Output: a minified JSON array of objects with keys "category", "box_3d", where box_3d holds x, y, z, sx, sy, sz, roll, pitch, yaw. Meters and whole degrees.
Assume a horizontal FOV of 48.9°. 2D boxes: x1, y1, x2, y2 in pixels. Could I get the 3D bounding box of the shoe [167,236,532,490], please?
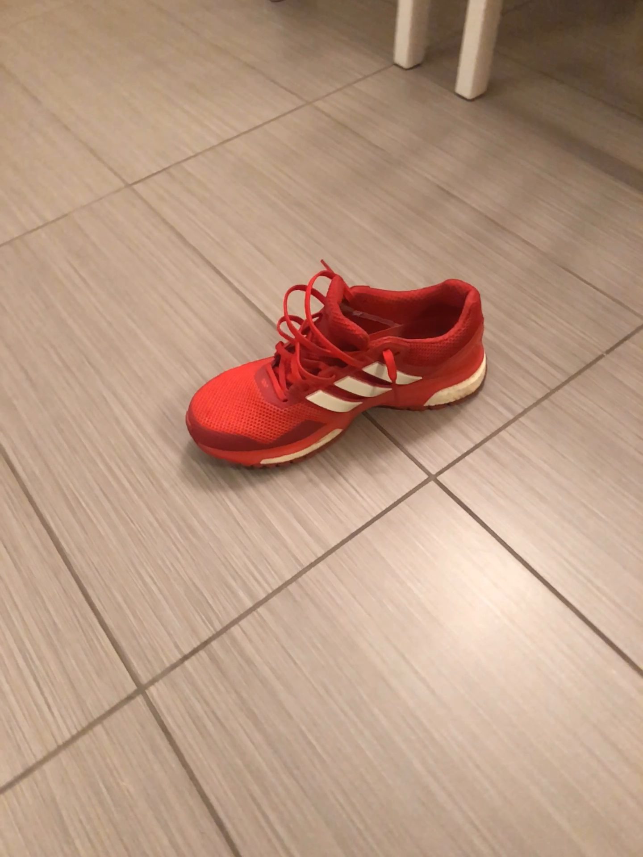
[{"category":"shoe","box_3d":[0.024,-0.063,0.646,0.290,0.100,0.120,-18,53,-8]}]
